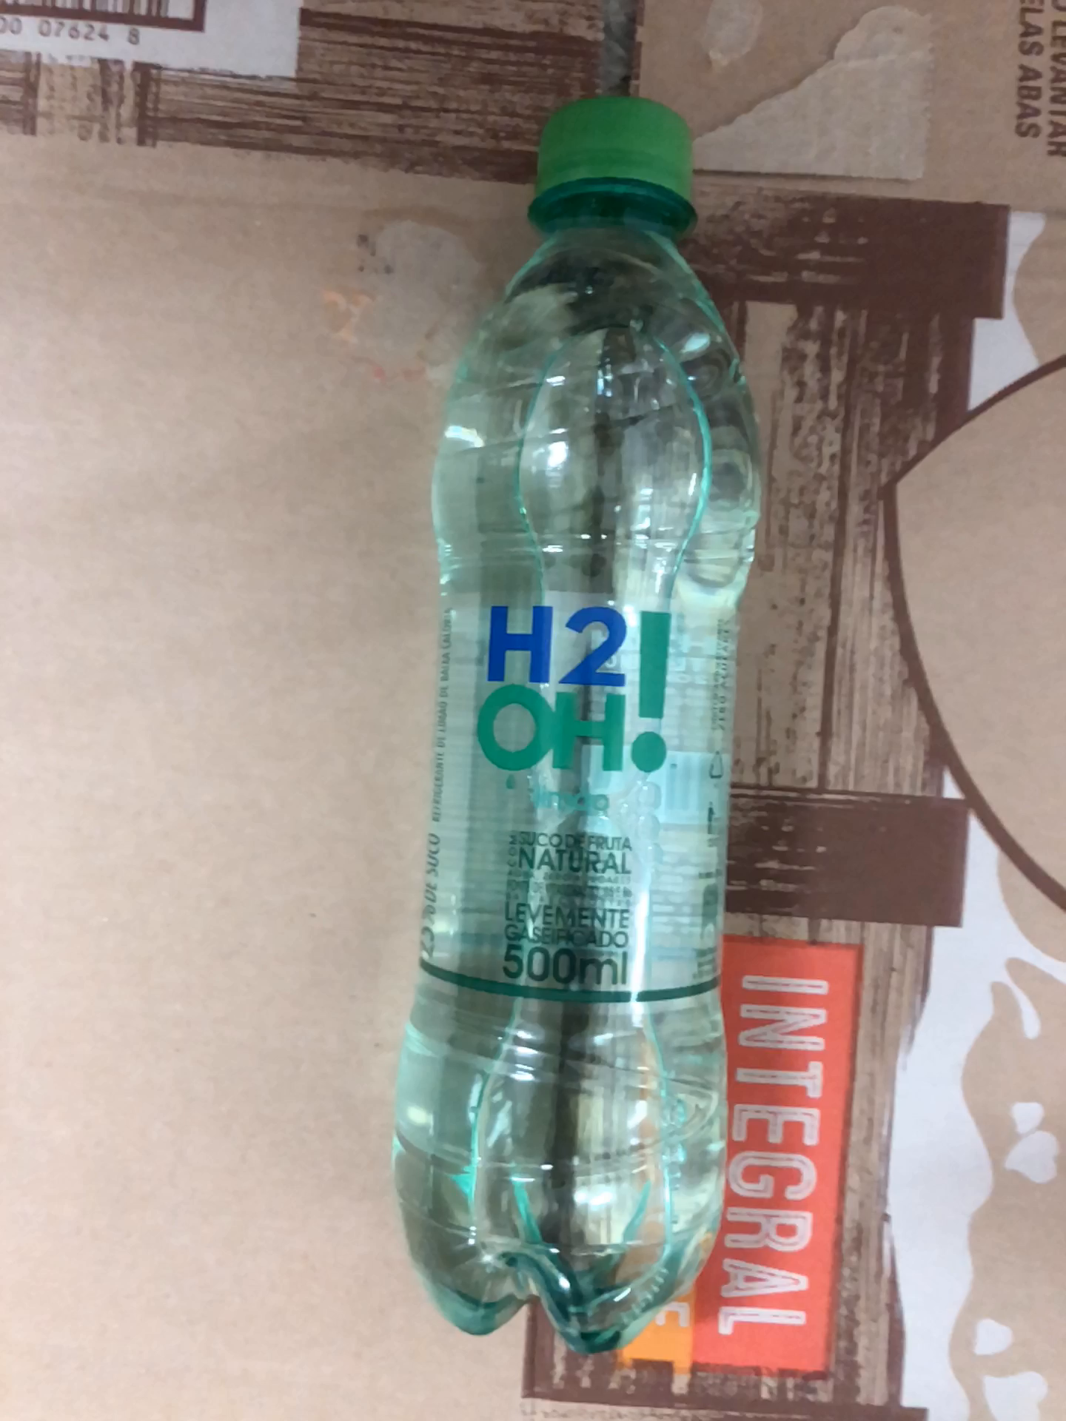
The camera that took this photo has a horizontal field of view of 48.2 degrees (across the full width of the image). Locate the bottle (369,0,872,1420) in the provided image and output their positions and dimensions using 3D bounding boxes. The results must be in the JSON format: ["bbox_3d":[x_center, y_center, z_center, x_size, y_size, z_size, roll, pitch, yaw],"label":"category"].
[{"bbox_3d":[0.014,-0.006,0.227,0.070,0.050,0.250,4,88,-4],"label":"bottle"}]
